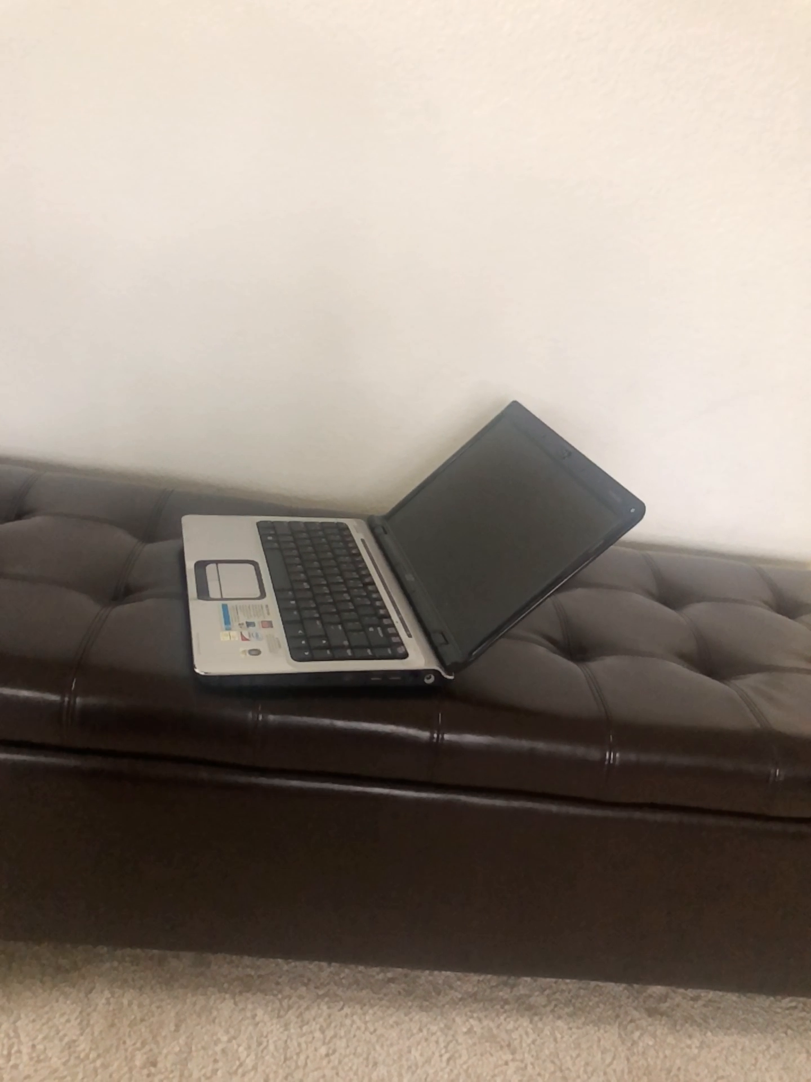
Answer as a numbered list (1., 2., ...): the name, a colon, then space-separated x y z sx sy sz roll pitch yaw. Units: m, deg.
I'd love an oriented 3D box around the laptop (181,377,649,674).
1. laptop: -0.021 -0.031 0.904 0.381 0.161 0.327 1 25 -17
